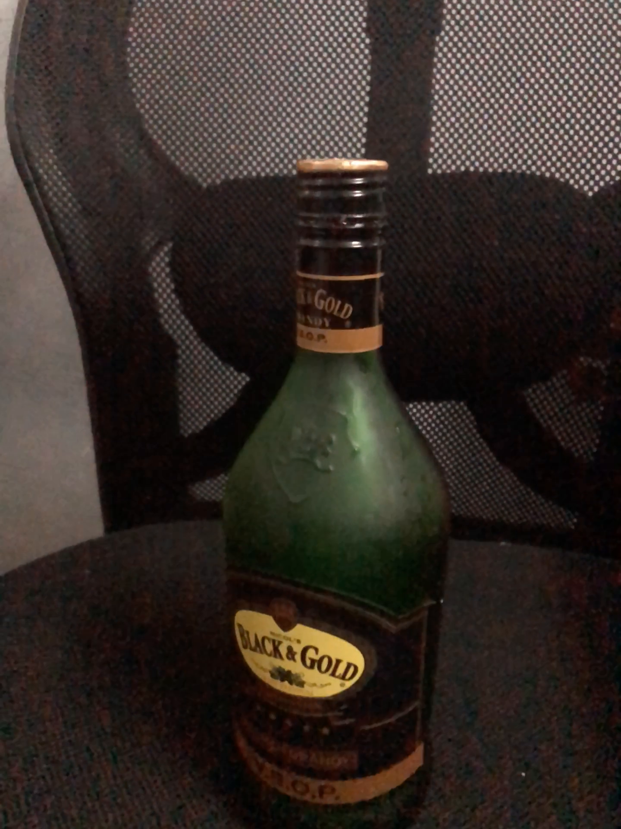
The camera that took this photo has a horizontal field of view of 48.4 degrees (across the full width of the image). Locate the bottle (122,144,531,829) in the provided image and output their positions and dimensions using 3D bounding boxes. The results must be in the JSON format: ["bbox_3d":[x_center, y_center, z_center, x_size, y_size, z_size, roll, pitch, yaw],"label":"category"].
[{"bbox_3d":[0.004,0.040,0.273,0.110,0.269,0.080,12,23,24],"label":"bottle"}]
